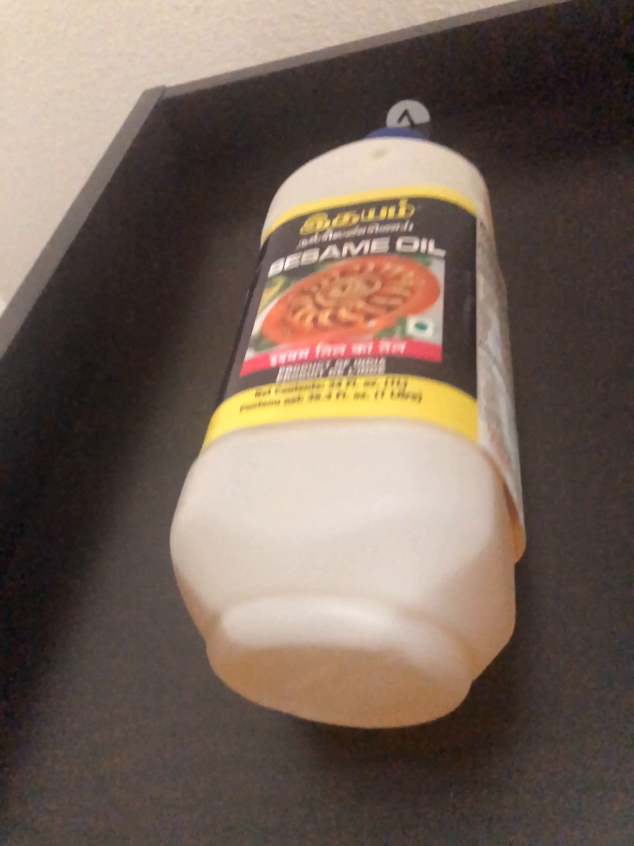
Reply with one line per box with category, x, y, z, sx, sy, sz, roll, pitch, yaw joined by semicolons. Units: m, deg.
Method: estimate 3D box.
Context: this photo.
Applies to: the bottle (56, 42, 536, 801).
bottle;0.019;-0.023;0.244;0.090;0.090;0.251;-5;48;18
